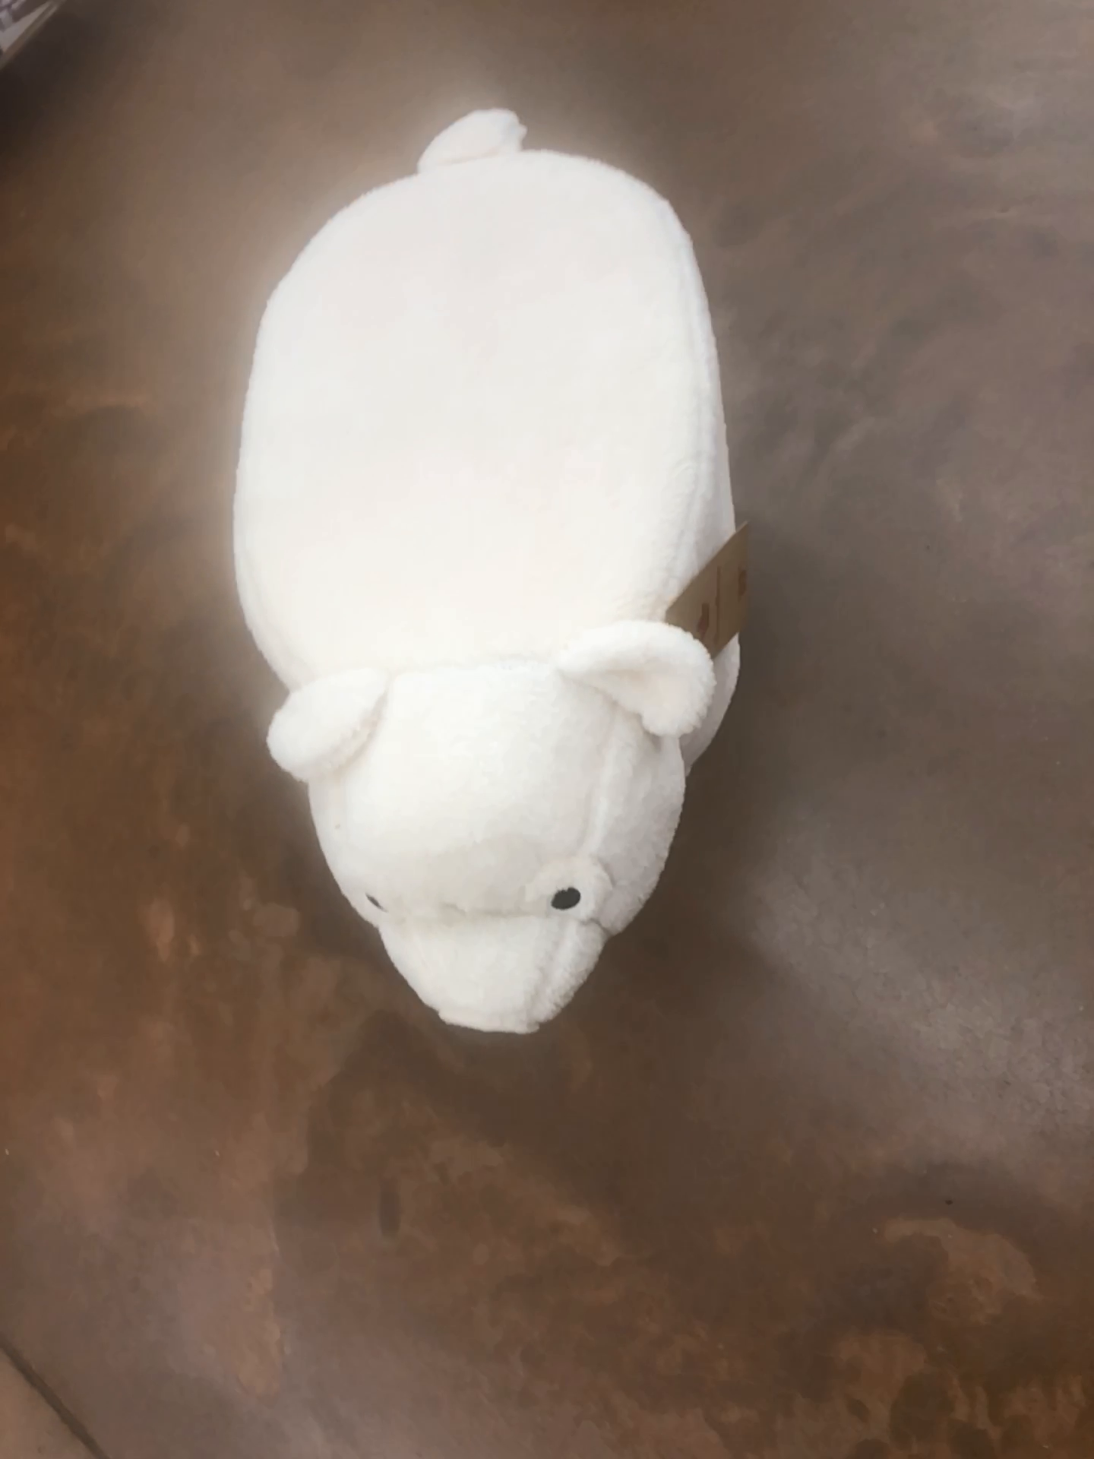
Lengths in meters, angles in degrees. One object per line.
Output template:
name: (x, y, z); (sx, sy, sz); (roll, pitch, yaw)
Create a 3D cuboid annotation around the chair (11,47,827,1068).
chair: (-0.033, -0.099, 0.910); (0.440, 0.350, 0.630); (-3, 66, 13)
